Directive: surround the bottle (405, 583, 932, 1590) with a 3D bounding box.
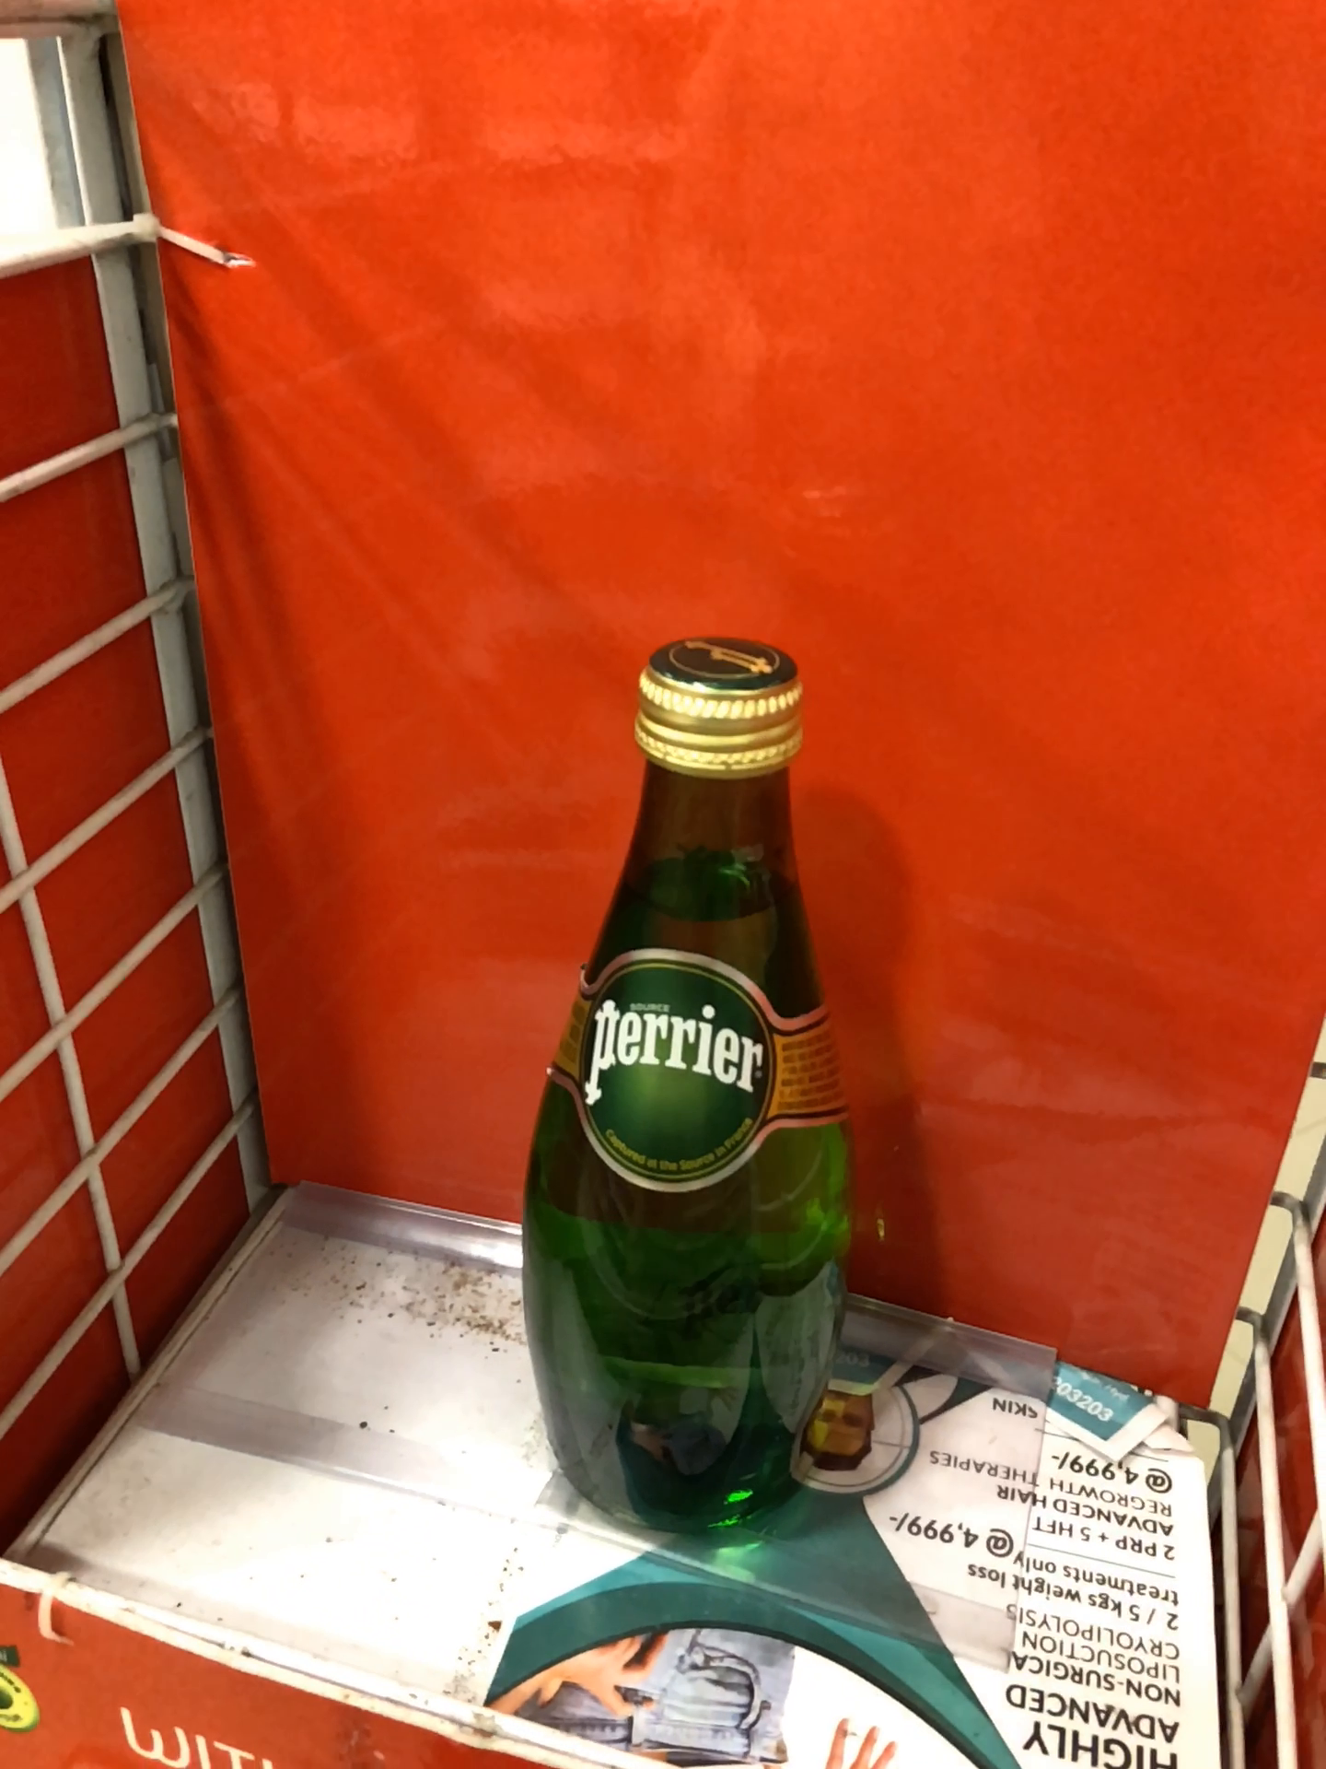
[{"bbox_3d":[0.002,0.043,0.279,0.070,0.179,0.060,9,32,13],"label":"bottle"}]
